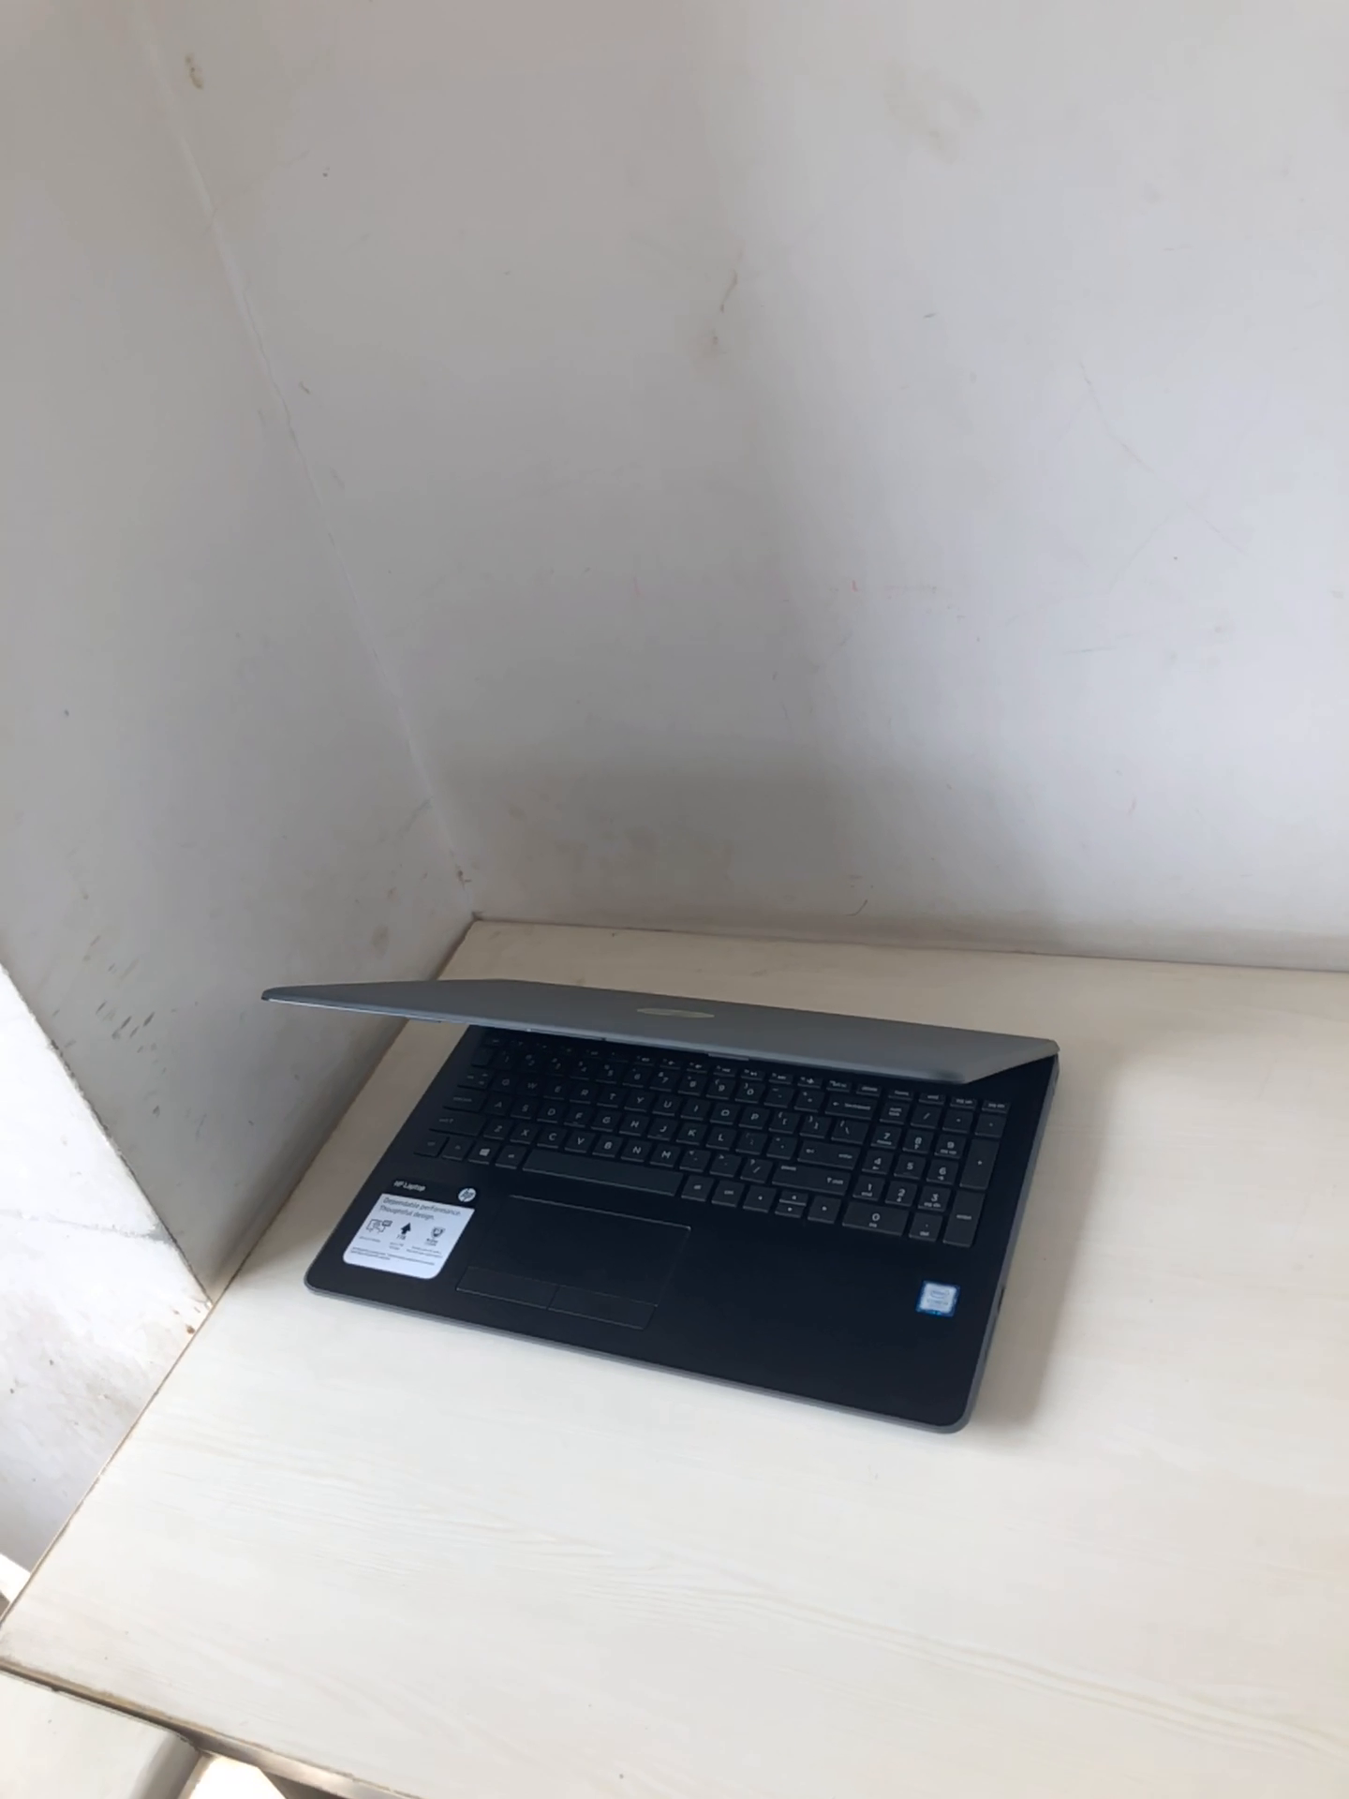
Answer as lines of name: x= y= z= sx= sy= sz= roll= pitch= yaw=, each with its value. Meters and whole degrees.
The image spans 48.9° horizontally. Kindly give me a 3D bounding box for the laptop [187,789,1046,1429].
laptop: x=-0.011 y=0.085 z=0.773 sx=0.356 sy=0.157 sz=0.245 roll=5 pitch=39 yaw=23
